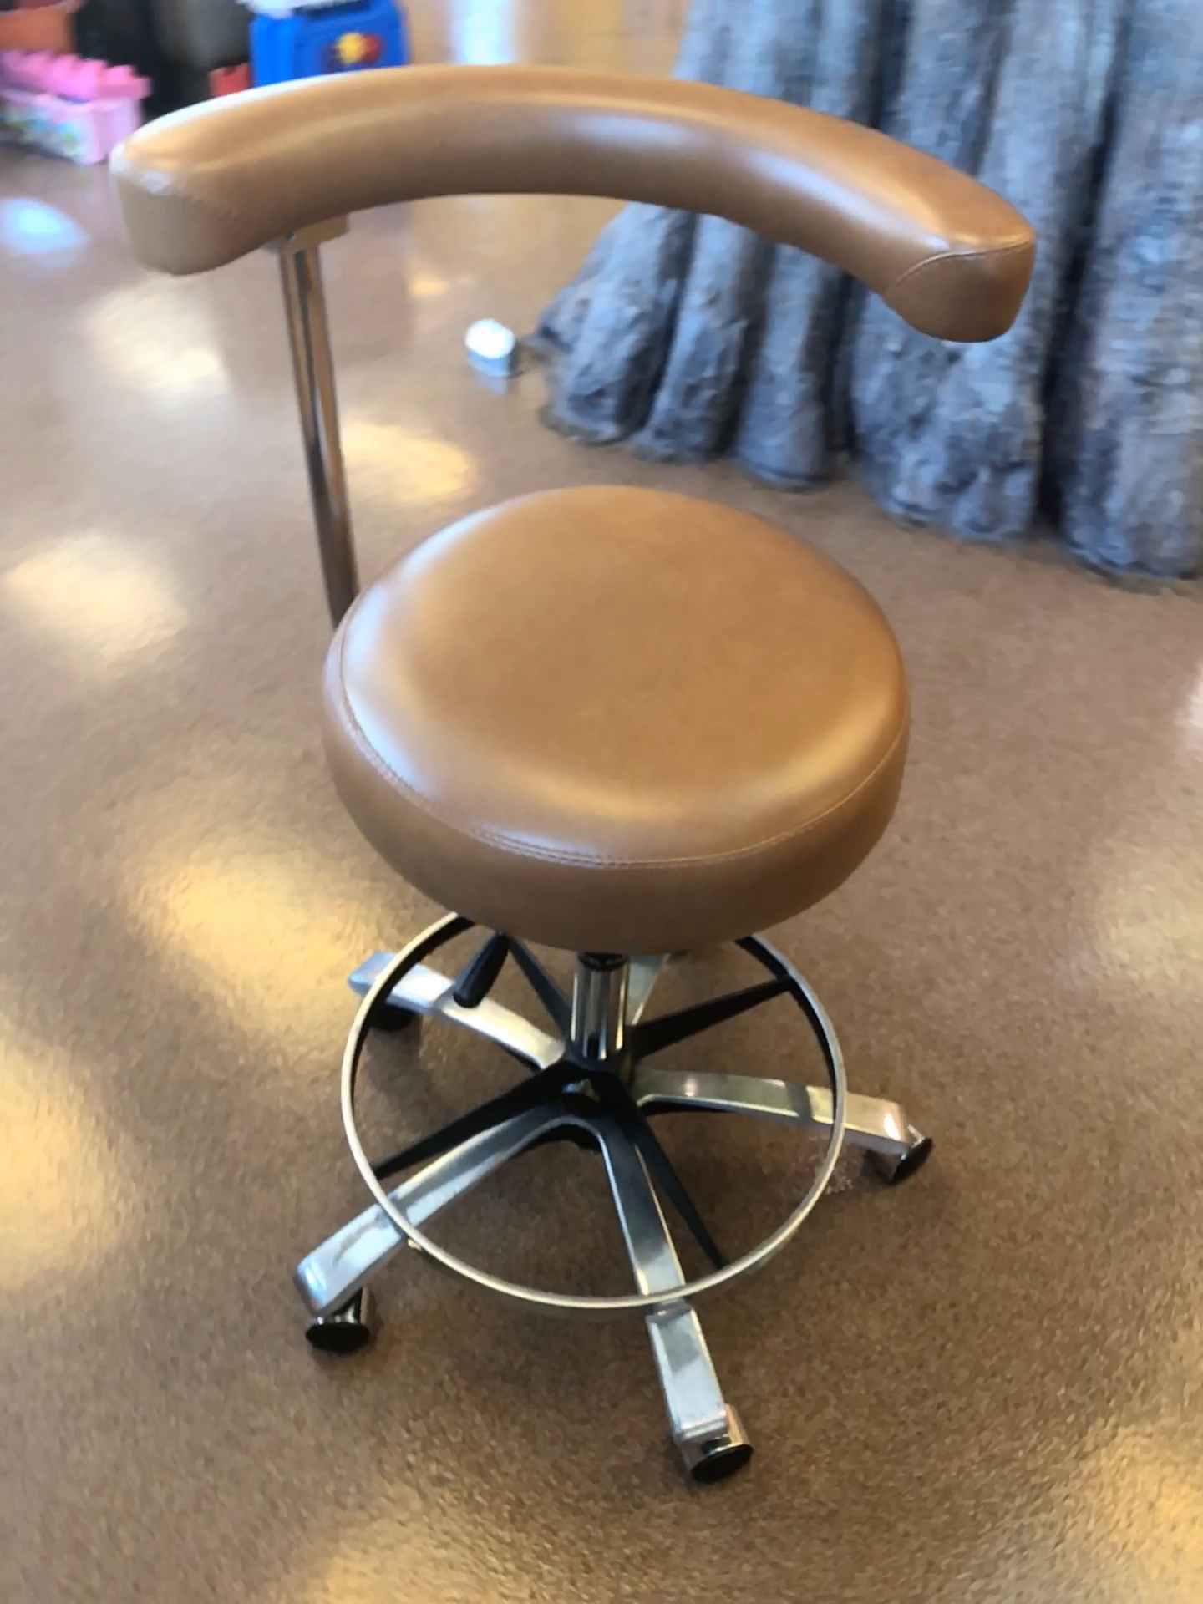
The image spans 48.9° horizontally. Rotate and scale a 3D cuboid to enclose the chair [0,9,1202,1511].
[{"bbox_3d":[0.001,-0.003,0.925,0.610,0.805,0.594,5,43,2],"label":"chair"}]
